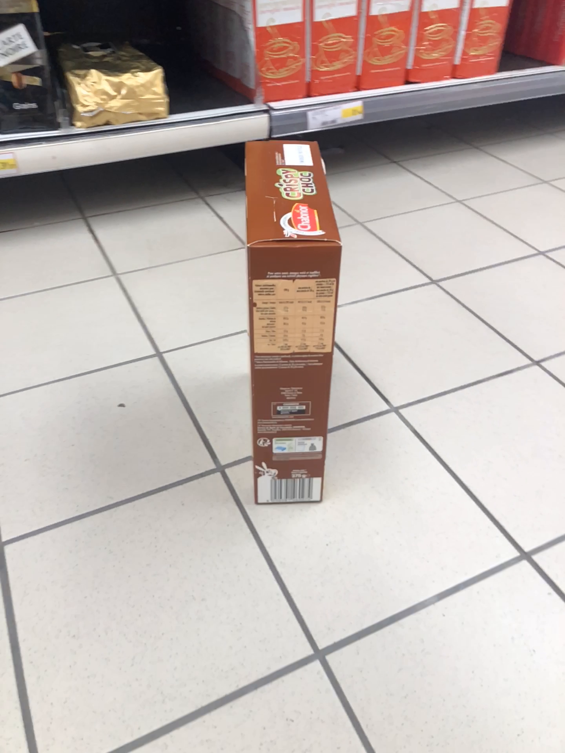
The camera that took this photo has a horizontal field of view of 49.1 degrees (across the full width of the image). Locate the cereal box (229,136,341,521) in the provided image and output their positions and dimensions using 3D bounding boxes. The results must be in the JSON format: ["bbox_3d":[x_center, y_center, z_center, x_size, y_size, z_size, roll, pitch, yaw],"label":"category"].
[{"bbox_3d":[-0.004,-0.043,0.551,0.070,0.268,0.211,-1,39,-2],"label":"cereal box"}]
